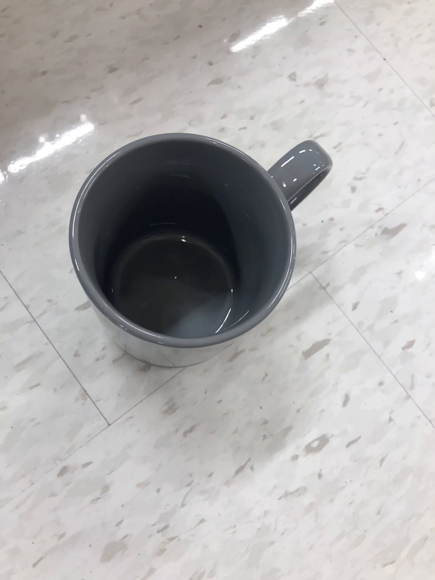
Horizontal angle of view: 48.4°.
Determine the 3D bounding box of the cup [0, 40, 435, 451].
[{"bbox_3d":[-0.001,-0.017,0.233,0.150,0.090,0.100,-38,85,-16],"label":"cup"}]
